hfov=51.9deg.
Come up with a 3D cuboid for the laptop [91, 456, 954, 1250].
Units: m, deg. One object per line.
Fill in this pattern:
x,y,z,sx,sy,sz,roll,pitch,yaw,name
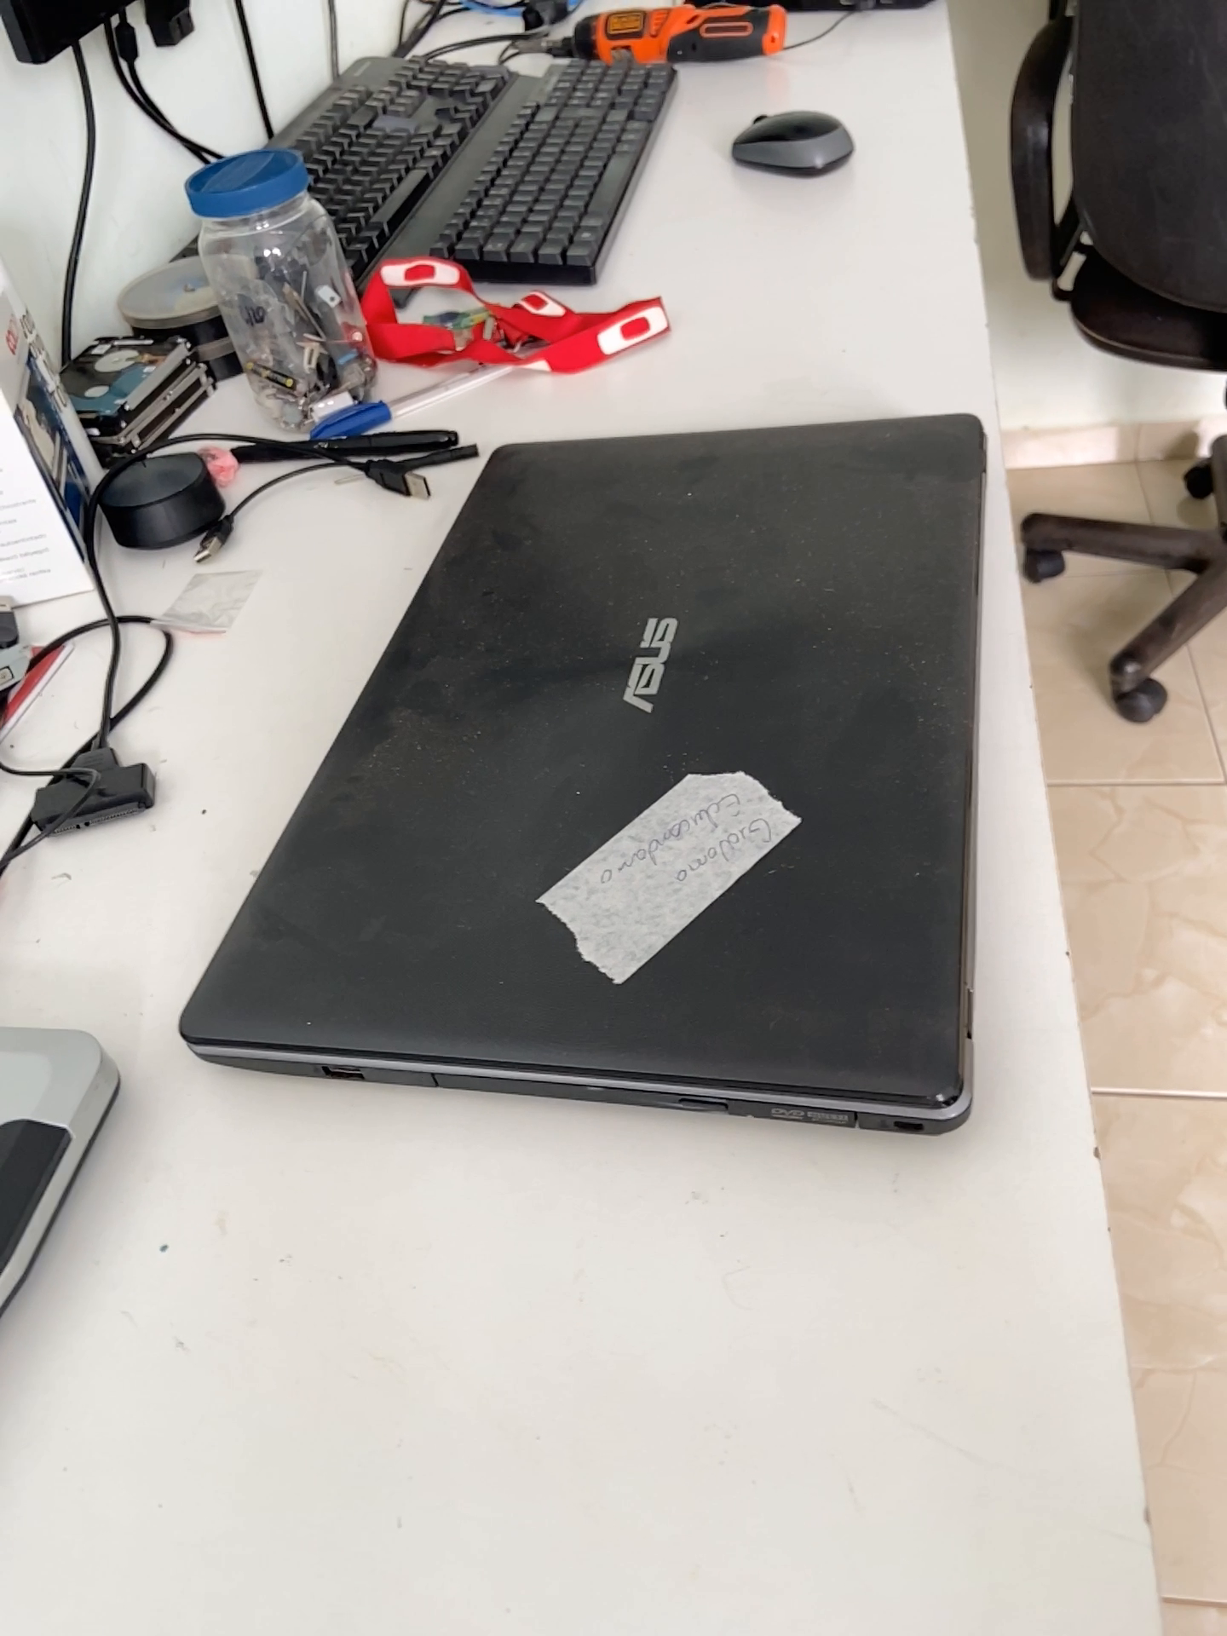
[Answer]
-0.003,-0.034,0.491,0.250,0.007,0.387,2,46,16,laptop
